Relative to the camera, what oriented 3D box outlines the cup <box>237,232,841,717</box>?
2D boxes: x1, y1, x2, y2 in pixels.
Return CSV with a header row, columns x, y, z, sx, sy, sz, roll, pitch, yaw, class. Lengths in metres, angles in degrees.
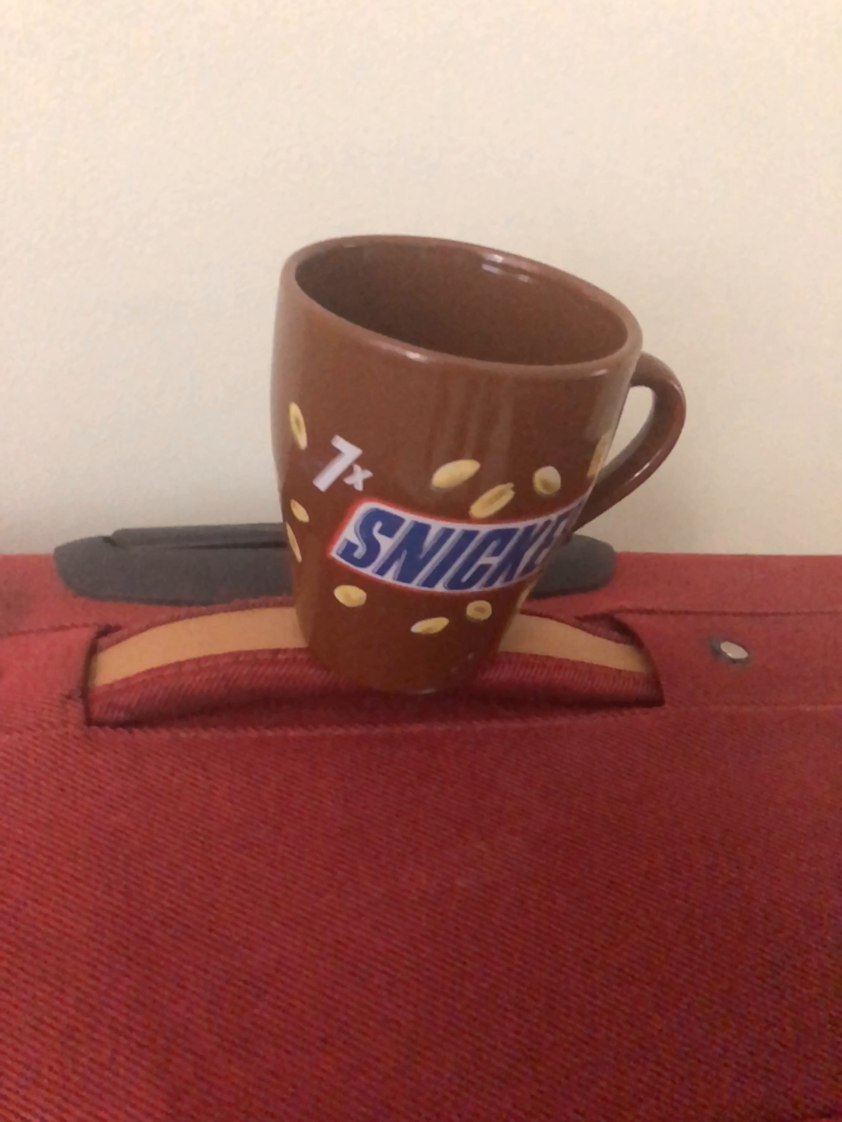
x,y,z,sx,sy,sz,roll,pitch,yaw,class
0.016,-0.027,0.235,0.115,0.080,0.088,-4,36,-16,cup
